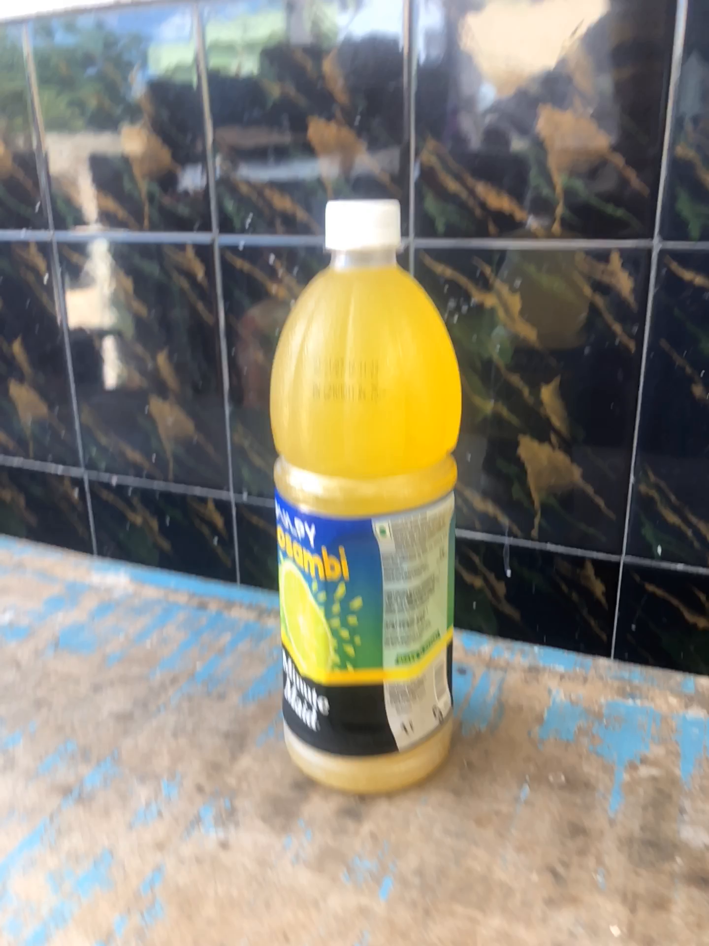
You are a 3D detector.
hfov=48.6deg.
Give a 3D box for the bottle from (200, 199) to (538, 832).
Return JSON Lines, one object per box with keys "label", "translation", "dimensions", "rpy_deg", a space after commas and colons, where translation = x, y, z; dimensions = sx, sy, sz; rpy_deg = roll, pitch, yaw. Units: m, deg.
{"label": "bottle", "translation": [0.006, 0.011, 0.350], "dimensions": [0.100, 0.249, 0.090], "rpy_deg": [-13, 23, -31]}
